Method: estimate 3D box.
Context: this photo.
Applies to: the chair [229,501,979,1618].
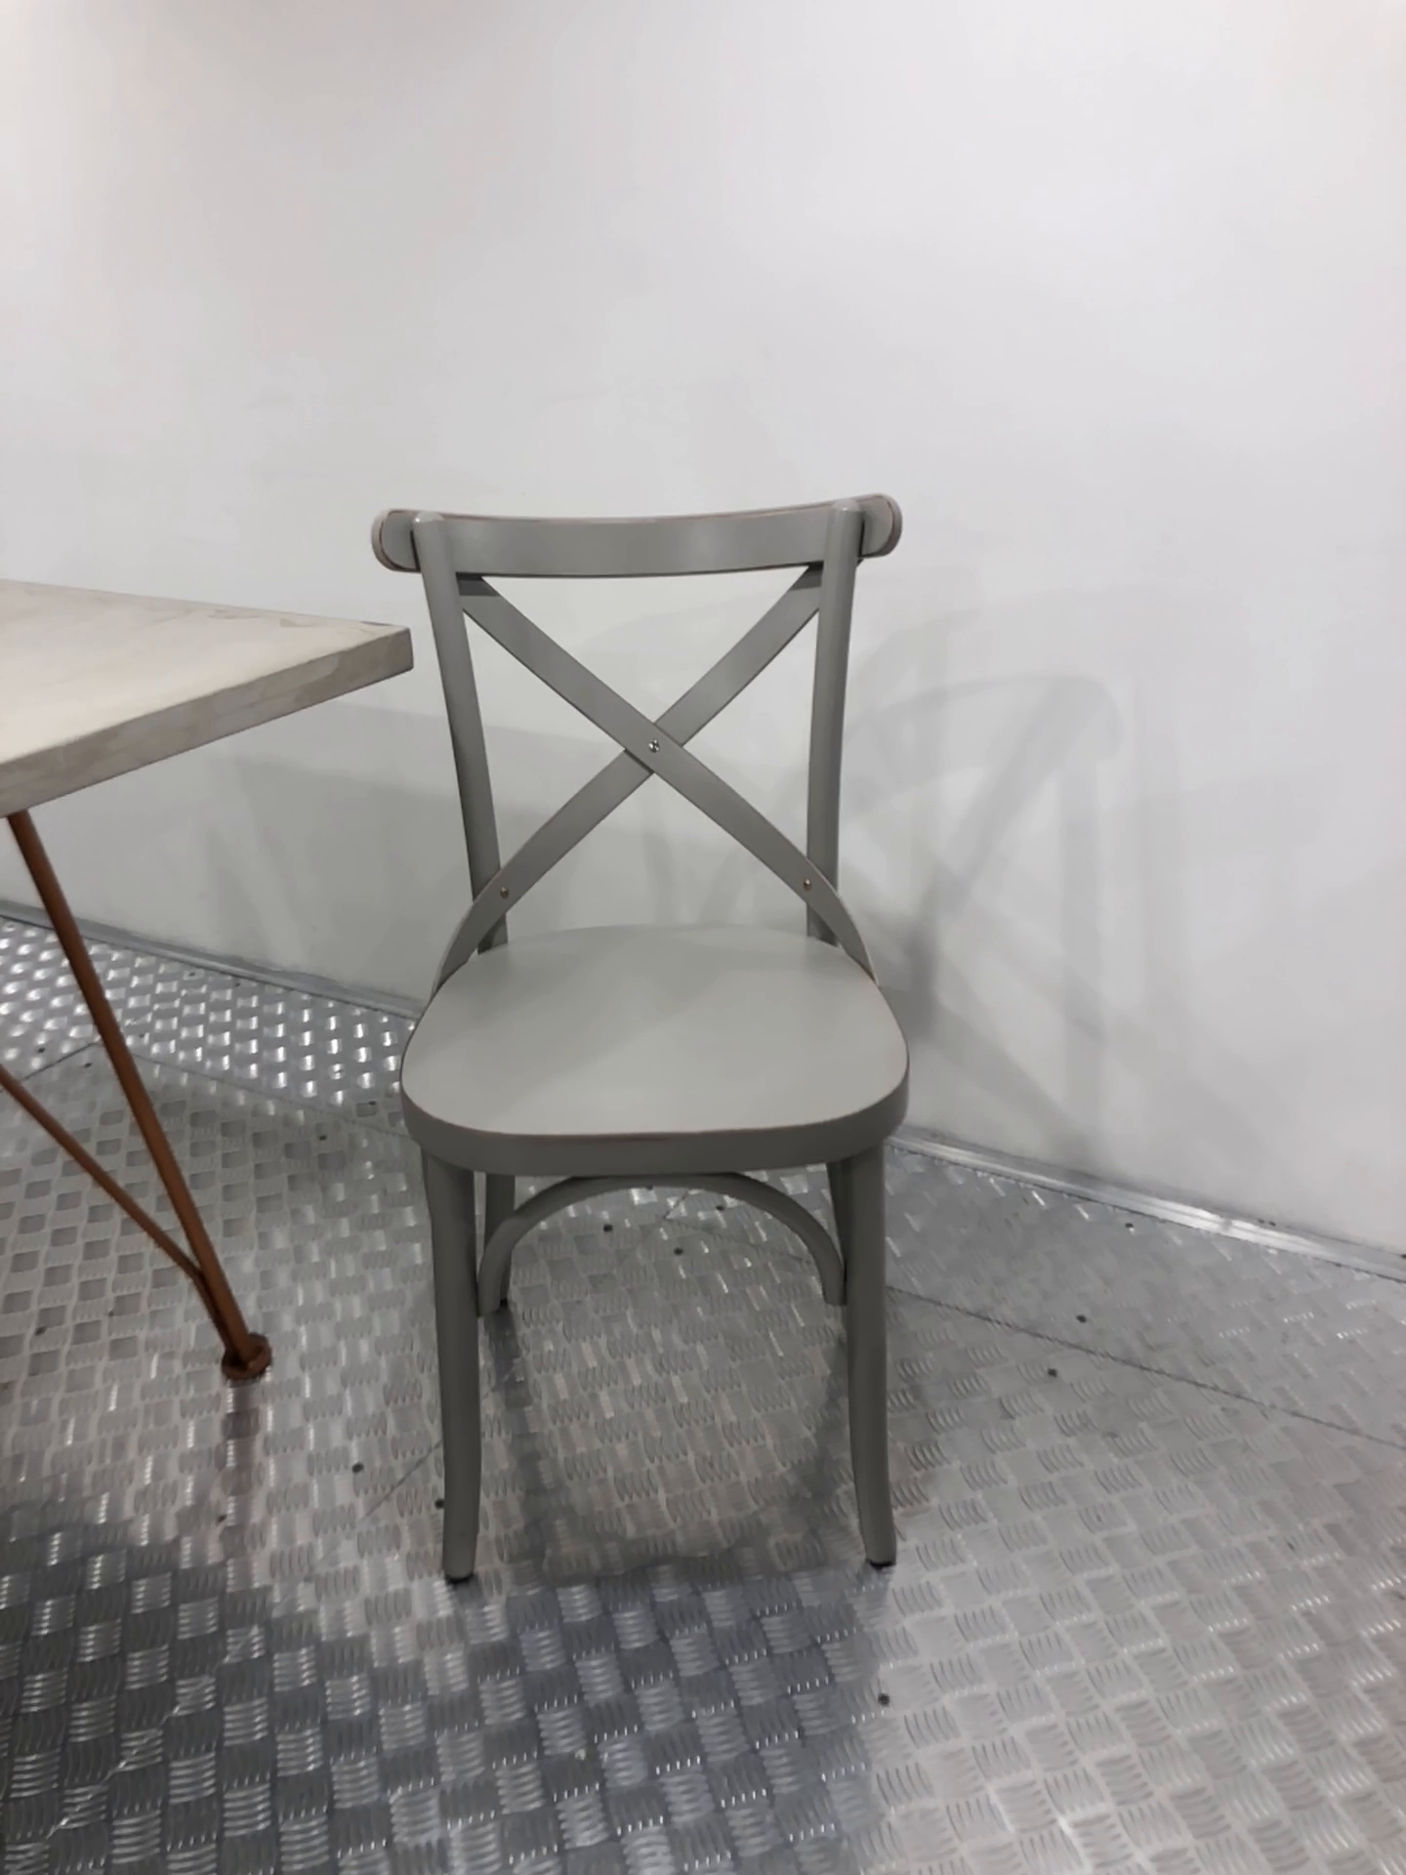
[{"bbox_3d":[-0.065,0.092,1.453,0.510,0.894,0.503,-2,23,-1],"label":"chair"}]
